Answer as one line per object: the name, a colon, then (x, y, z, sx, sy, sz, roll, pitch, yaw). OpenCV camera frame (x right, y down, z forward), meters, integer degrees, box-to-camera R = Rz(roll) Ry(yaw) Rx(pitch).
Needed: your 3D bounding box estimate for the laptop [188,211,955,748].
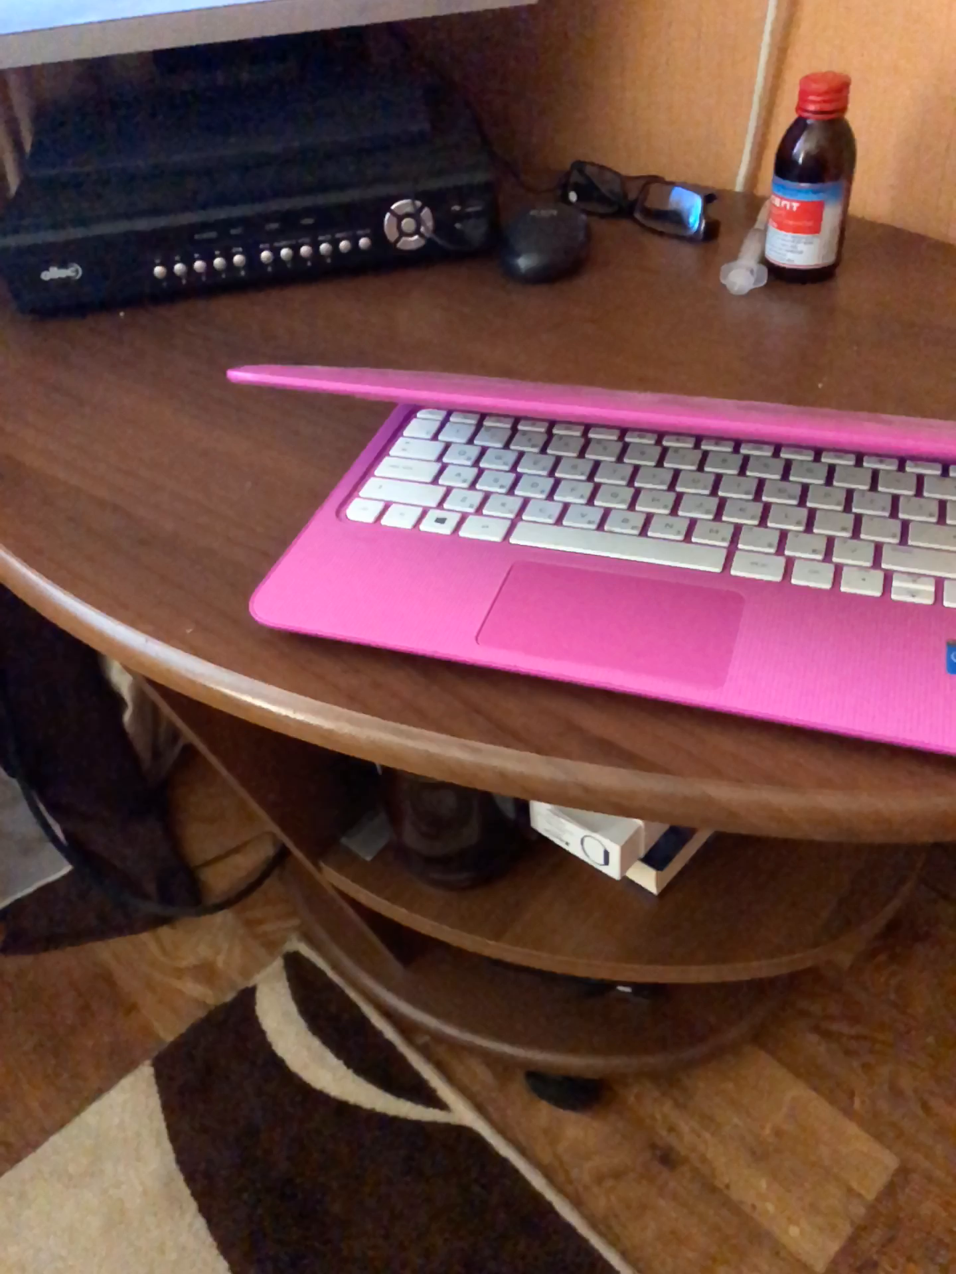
laptop: (0.064, -0.078, 0.392, 0.264, 0.081, 0.187, 10, 43, 17)
